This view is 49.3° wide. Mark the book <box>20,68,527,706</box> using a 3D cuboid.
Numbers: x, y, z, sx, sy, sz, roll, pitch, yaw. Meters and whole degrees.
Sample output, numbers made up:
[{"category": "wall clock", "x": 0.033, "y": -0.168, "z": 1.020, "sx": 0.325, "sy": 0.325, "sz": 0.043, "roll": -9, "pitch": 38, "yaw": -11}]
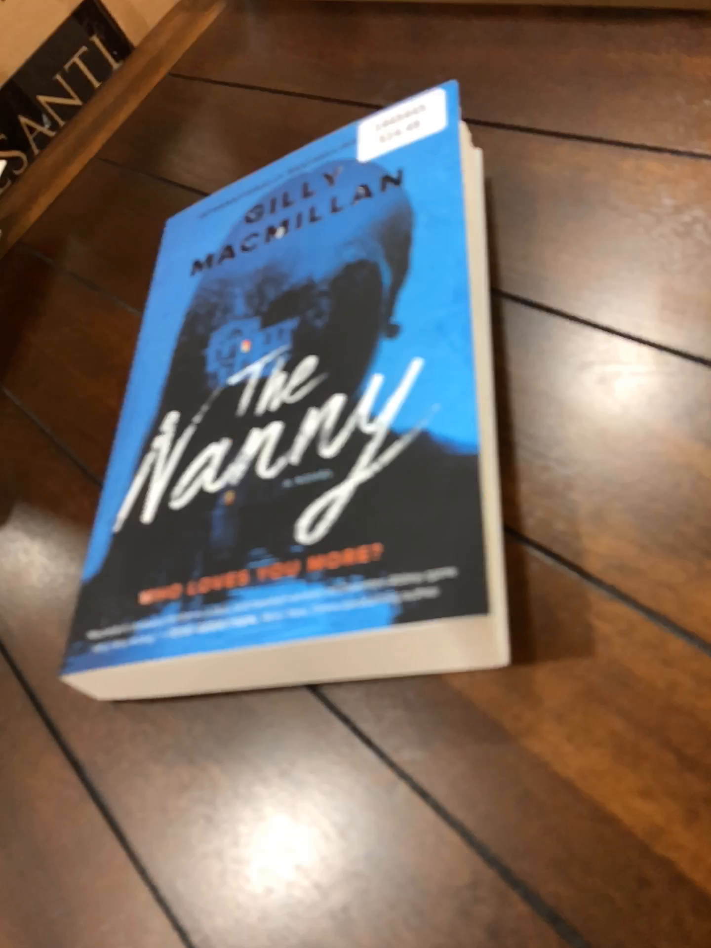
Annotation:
[{"category": "book", "x": -0.023, "y": -0.038, "z": 0.297, "sx": 0.161, "sy": 0.040, "sz": 0.230, "roll": -14, "pitch": 52, "yaw": 27}]
